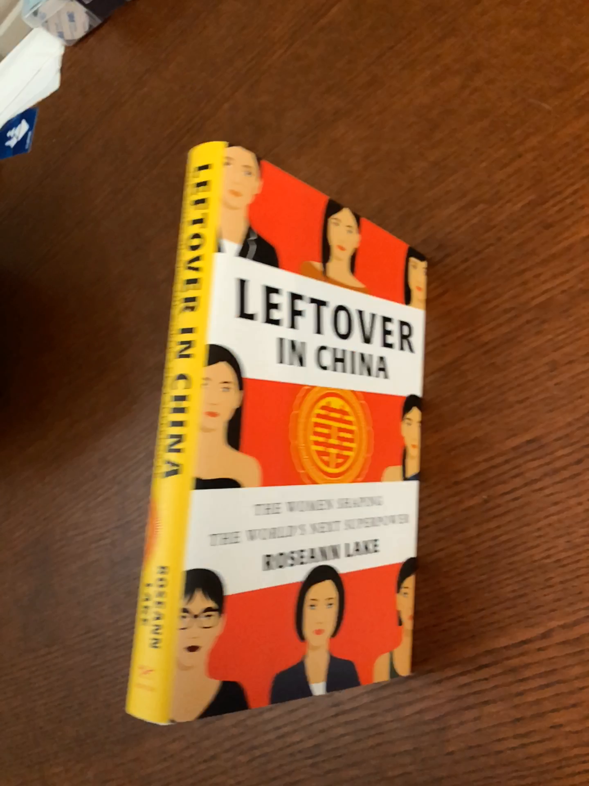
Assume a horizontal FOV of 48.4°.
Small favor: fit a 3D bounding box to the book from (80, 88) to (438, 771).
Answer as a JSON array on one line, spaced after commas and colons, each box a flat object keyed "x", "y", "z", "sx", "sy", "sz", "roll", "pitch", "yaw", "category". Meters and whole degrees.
[{"x": 0.002, "y": 0.020, "z": 0.336, "sx": 0.060, "sy": 0.179, "sz": 0.260, "roll": -3, "pitch": 77, "yaw": 36, "category": "book"}]
